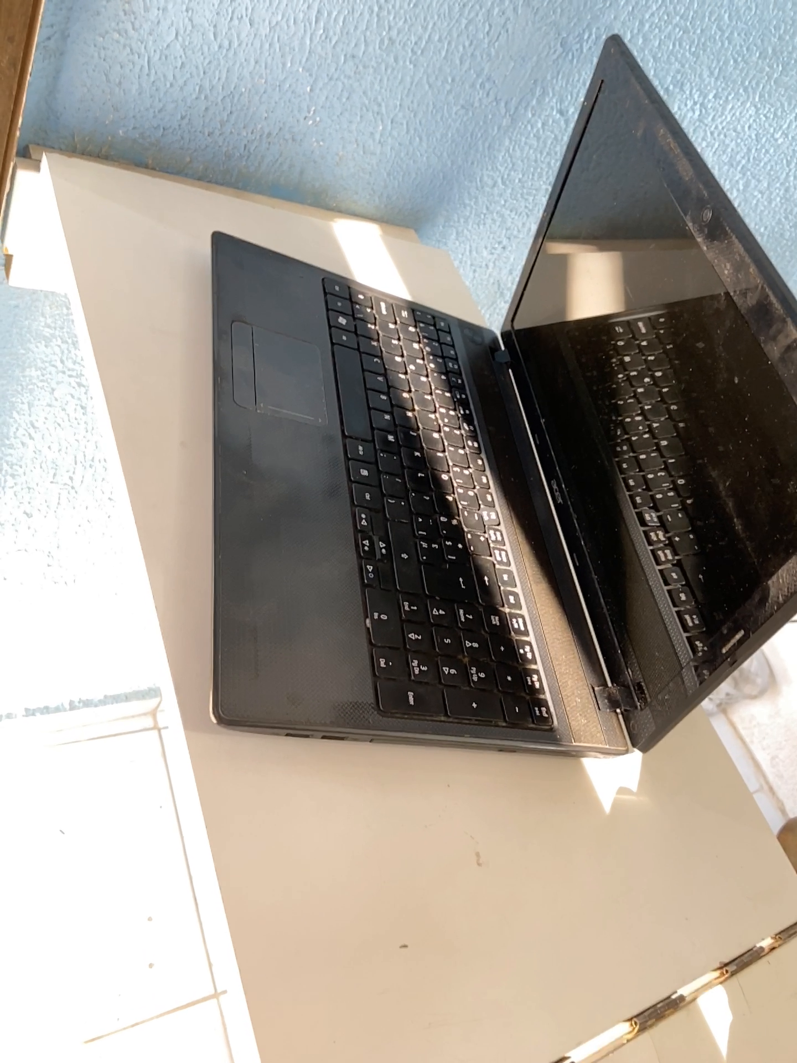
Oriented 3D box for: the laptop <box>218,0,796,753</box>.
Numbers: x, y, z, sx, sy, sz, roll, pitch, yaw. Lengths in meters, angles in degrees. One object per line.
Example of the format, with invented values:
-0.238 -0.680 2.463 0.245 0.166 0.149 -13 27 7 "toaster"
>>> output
0.057 -0.106 0.472 0.254 0.234 0.375 12 48 -27 "laptop"
